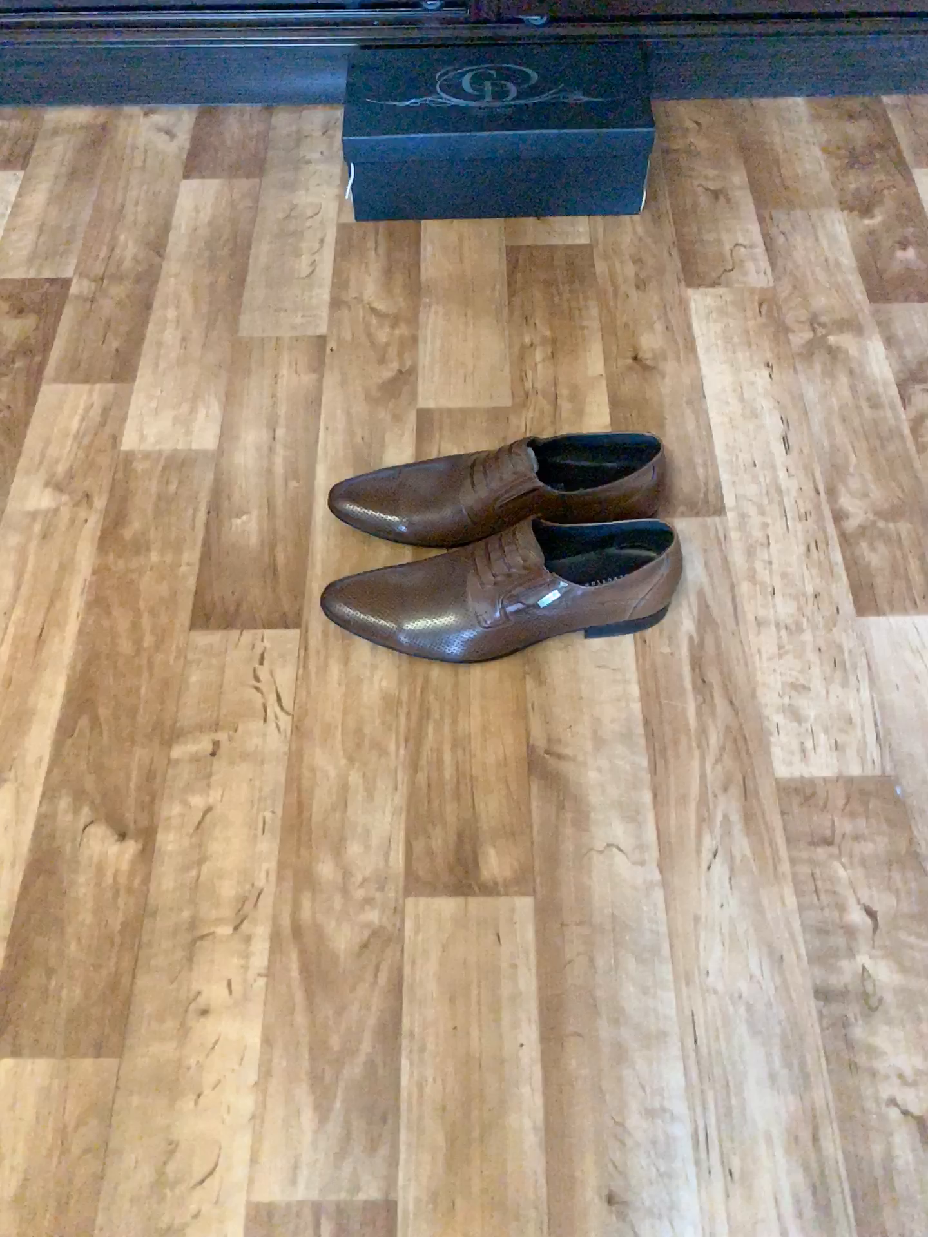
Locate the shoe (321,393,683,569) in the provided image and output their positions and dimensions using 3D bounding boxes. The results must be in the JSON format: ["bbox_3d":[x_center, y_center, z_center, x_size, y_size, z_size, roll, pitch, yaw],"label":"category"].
[{"bbox_3d":[0.032,-0.123,0.862,0.300,0.120,0.100,-1,60,1],"label":"shoe"}]

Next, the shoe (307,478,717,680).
[{"bbox_3d":[0.034,-0.032,0.786,0.310,0.100,0.110,-4,60,-1],"label":"shoe"}]
